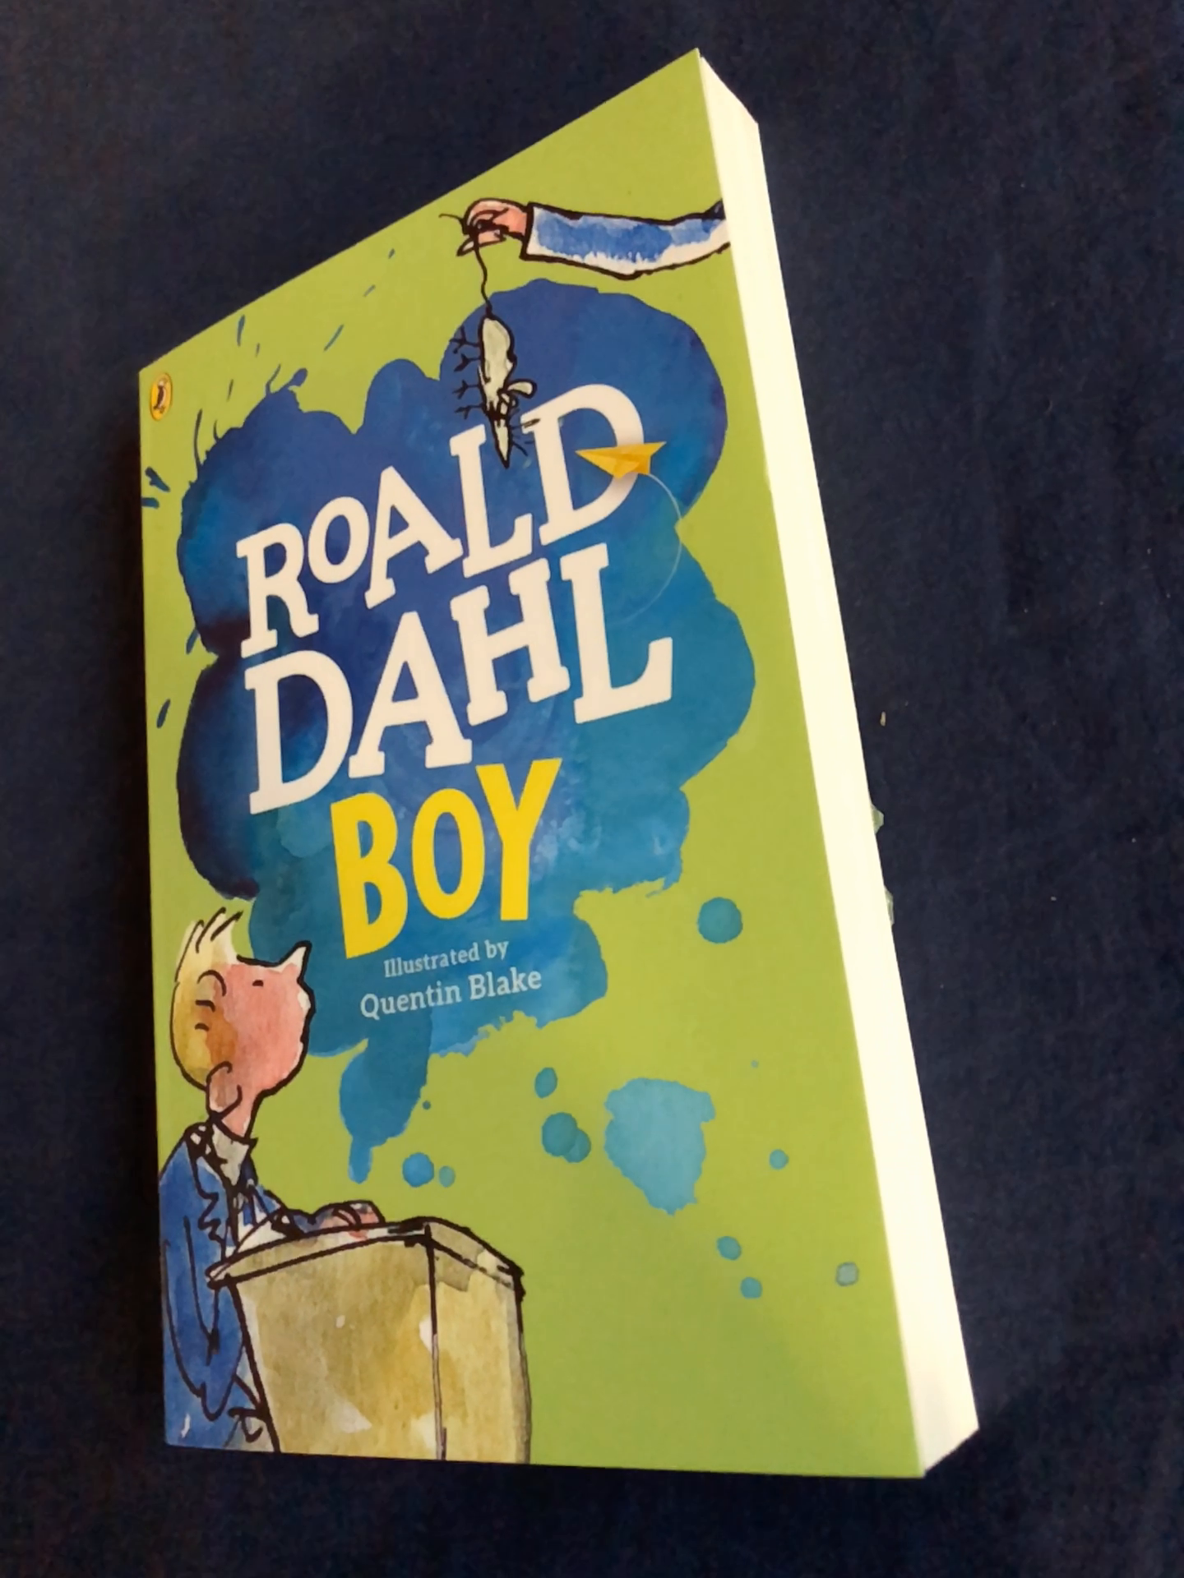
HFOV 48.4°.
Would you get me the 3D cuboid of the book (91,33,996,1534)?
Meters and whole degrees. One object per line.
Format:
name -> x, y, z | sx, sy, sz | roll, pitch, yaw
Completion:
book -> -0.021, 0.002, 0.203 | 0.126, 0.027, 0.189 | -13, 76, 29
